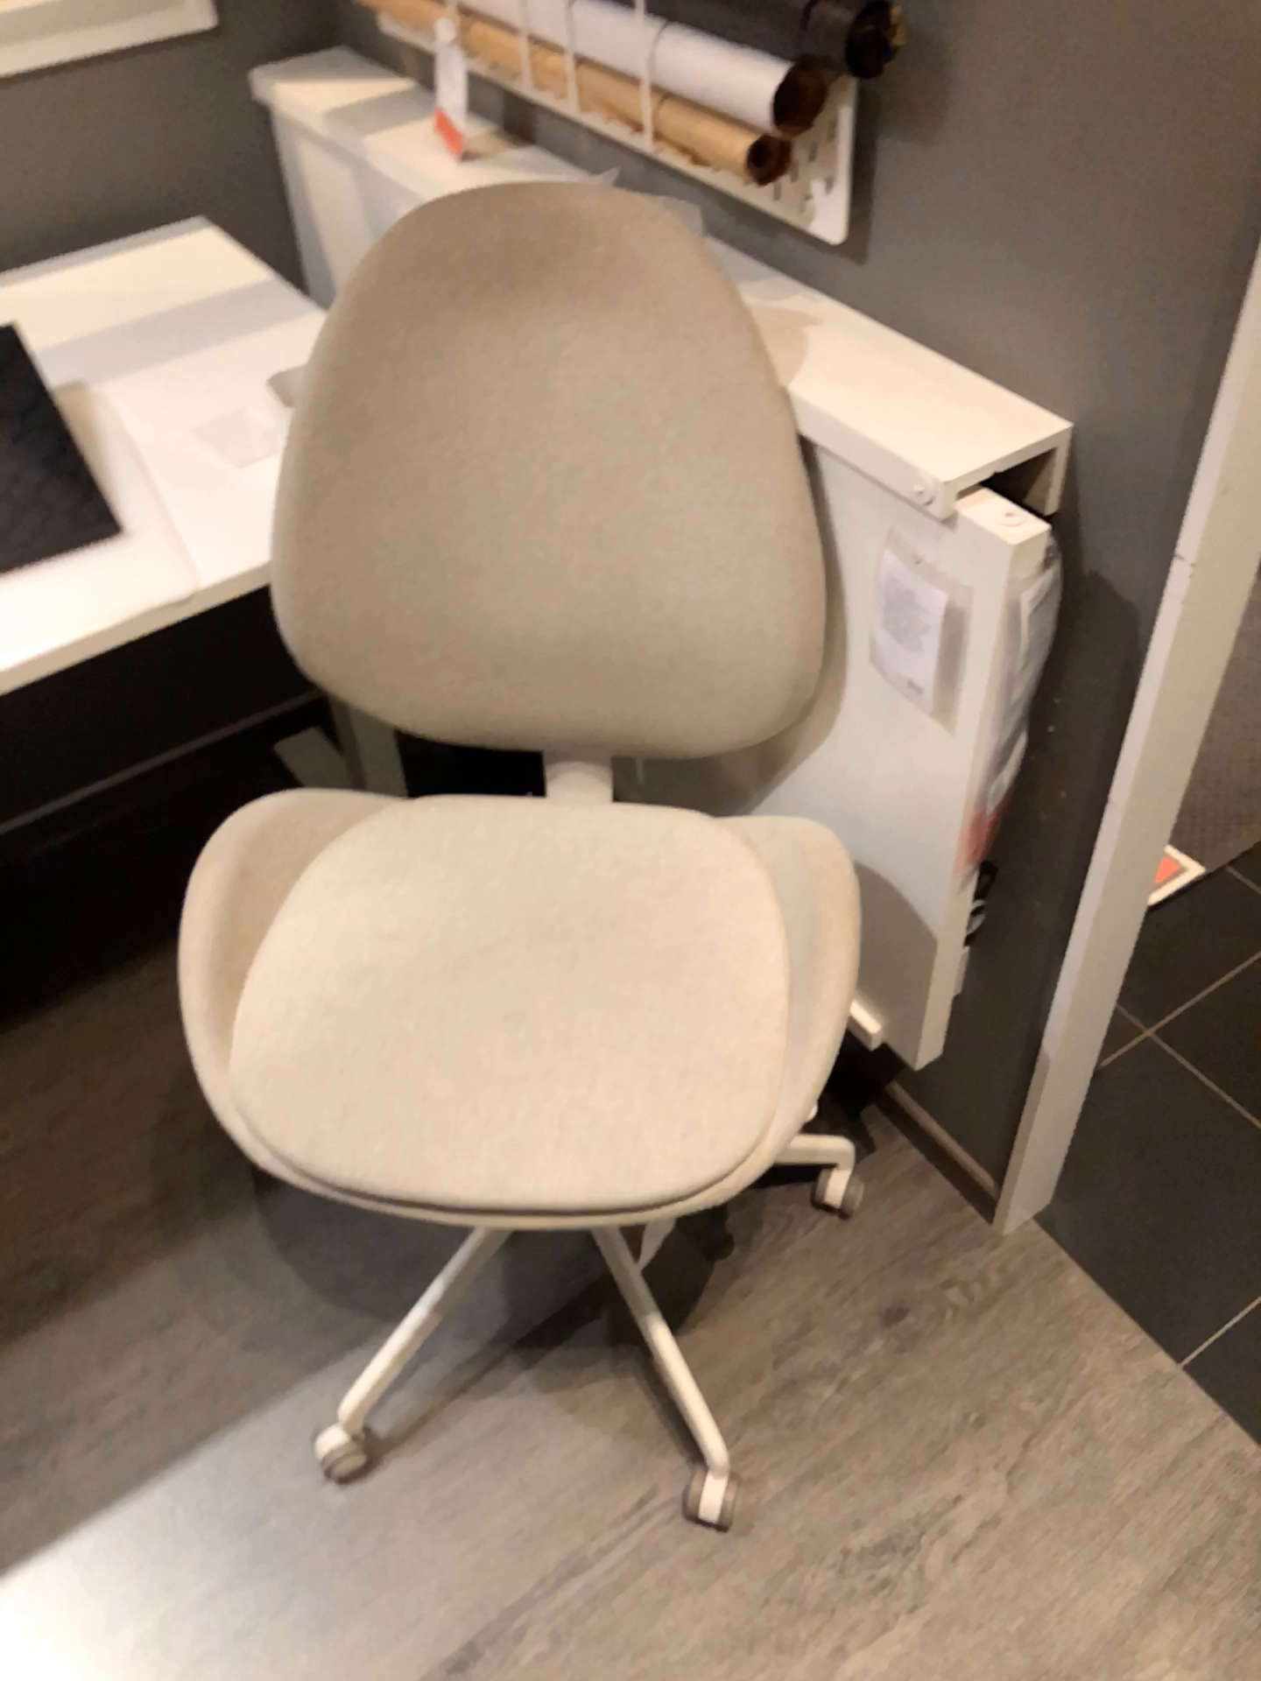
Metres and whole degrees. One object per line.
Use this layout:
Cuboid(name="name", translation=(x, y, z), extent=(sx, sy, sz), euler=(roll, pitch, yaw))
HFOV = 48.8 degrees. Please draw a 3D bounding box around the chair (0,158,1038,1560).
Cuboid(name="chair", translation=(-0.100, 0.046, 1.197), extent=(0.680, 0.964, 0.684), euler=(4, 46, 7))
